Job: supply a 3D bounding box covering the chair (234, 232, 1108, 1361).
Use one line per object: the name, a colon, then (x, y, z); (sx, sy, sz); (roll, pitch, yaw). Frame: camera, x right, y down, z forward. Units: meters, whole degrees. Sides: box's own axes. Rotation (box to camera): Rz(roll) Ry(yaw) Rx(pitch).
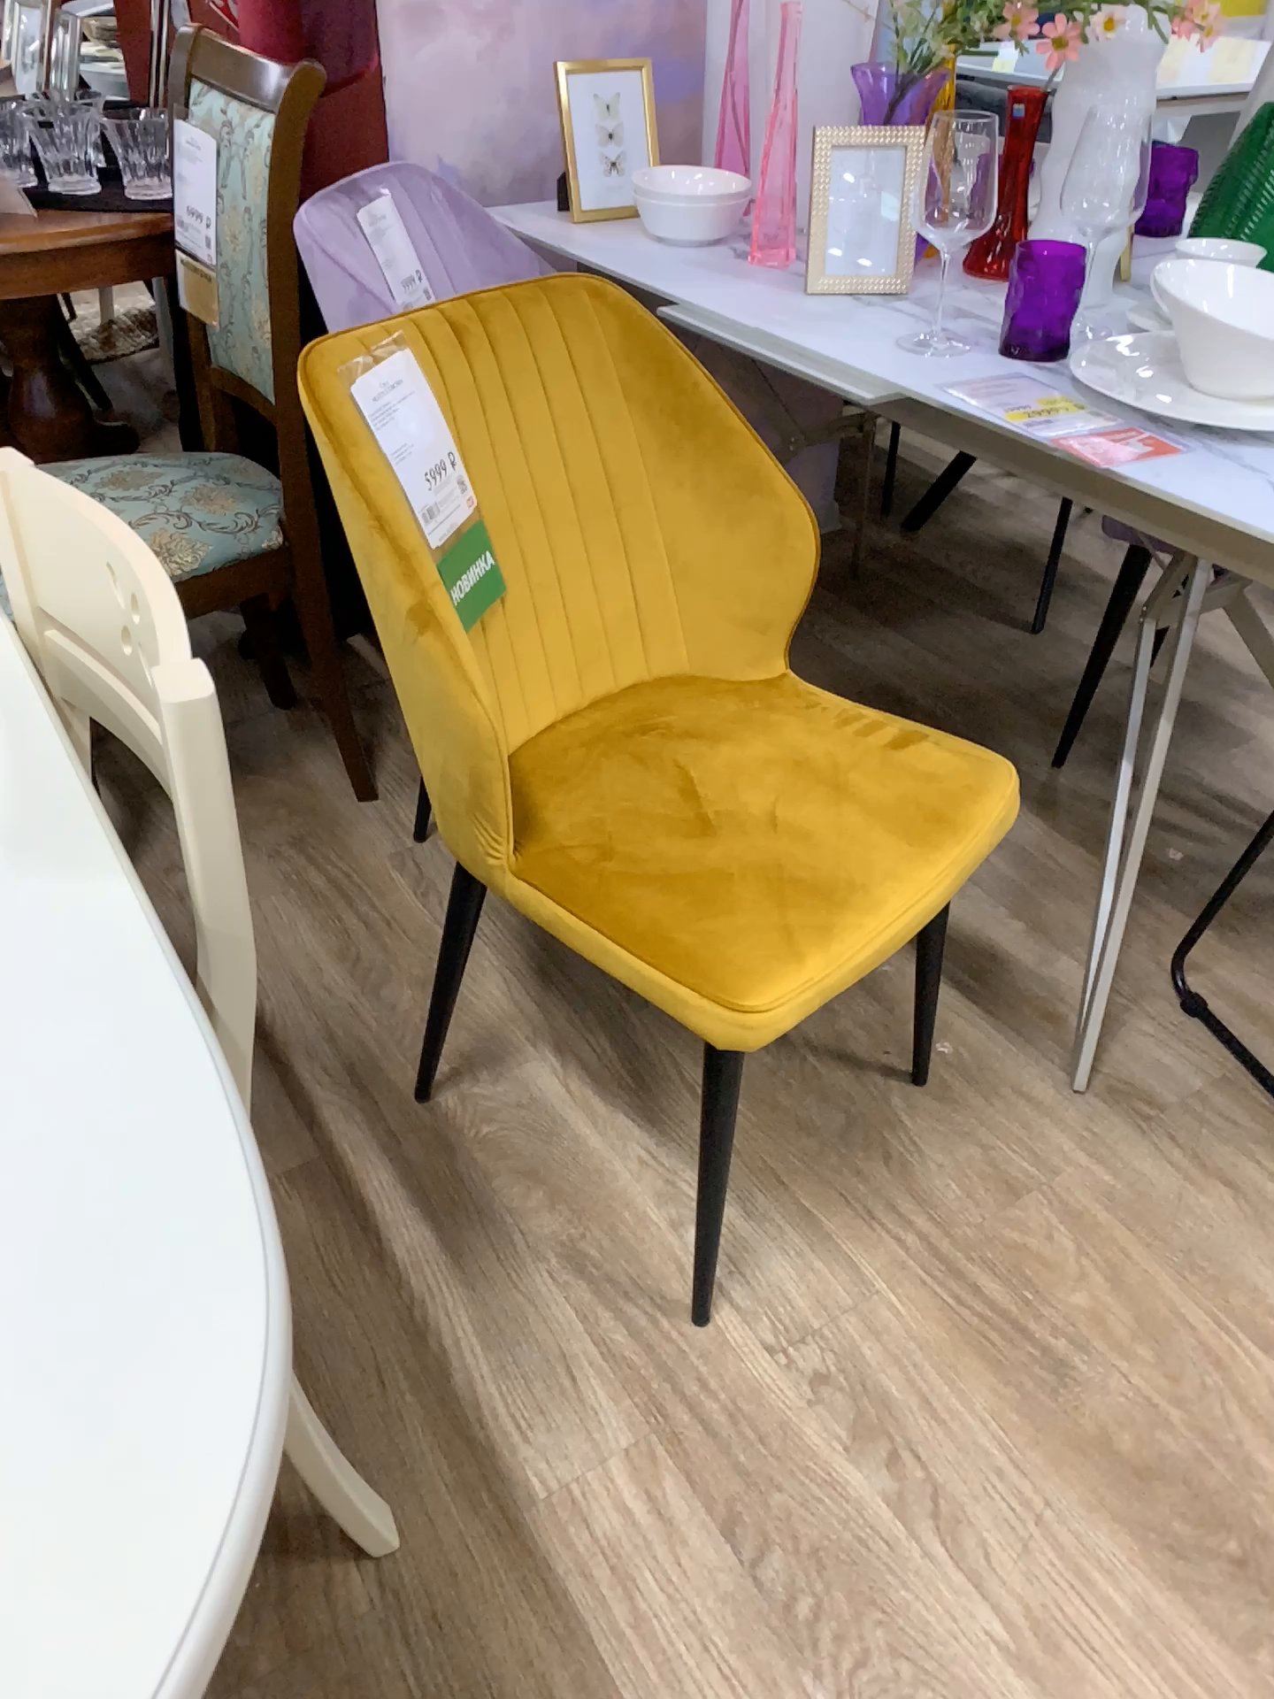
chair: (0.027, -0.063, 1.308); (0.501, 0.885, 0.502); (27, 43, 30)
